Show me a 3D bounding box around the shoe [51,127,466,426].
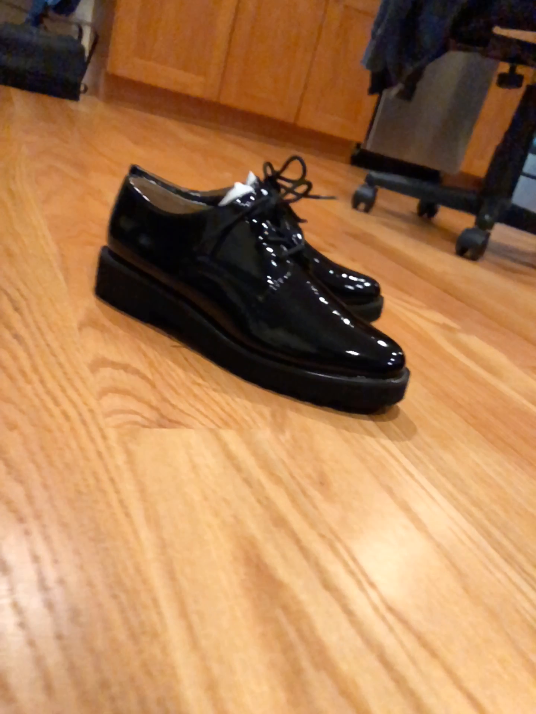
[{"bbox_3d":[-0.015,-0.067,0.404,0.251,0.101,0.095,25,25,21],"label":"shoe"}]

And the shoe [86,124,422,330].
[{"bbox_3d":[-0.014,-0.114,0.517,0.251,0.101,0.096,12,23,-8],"label":"shoe"}]
